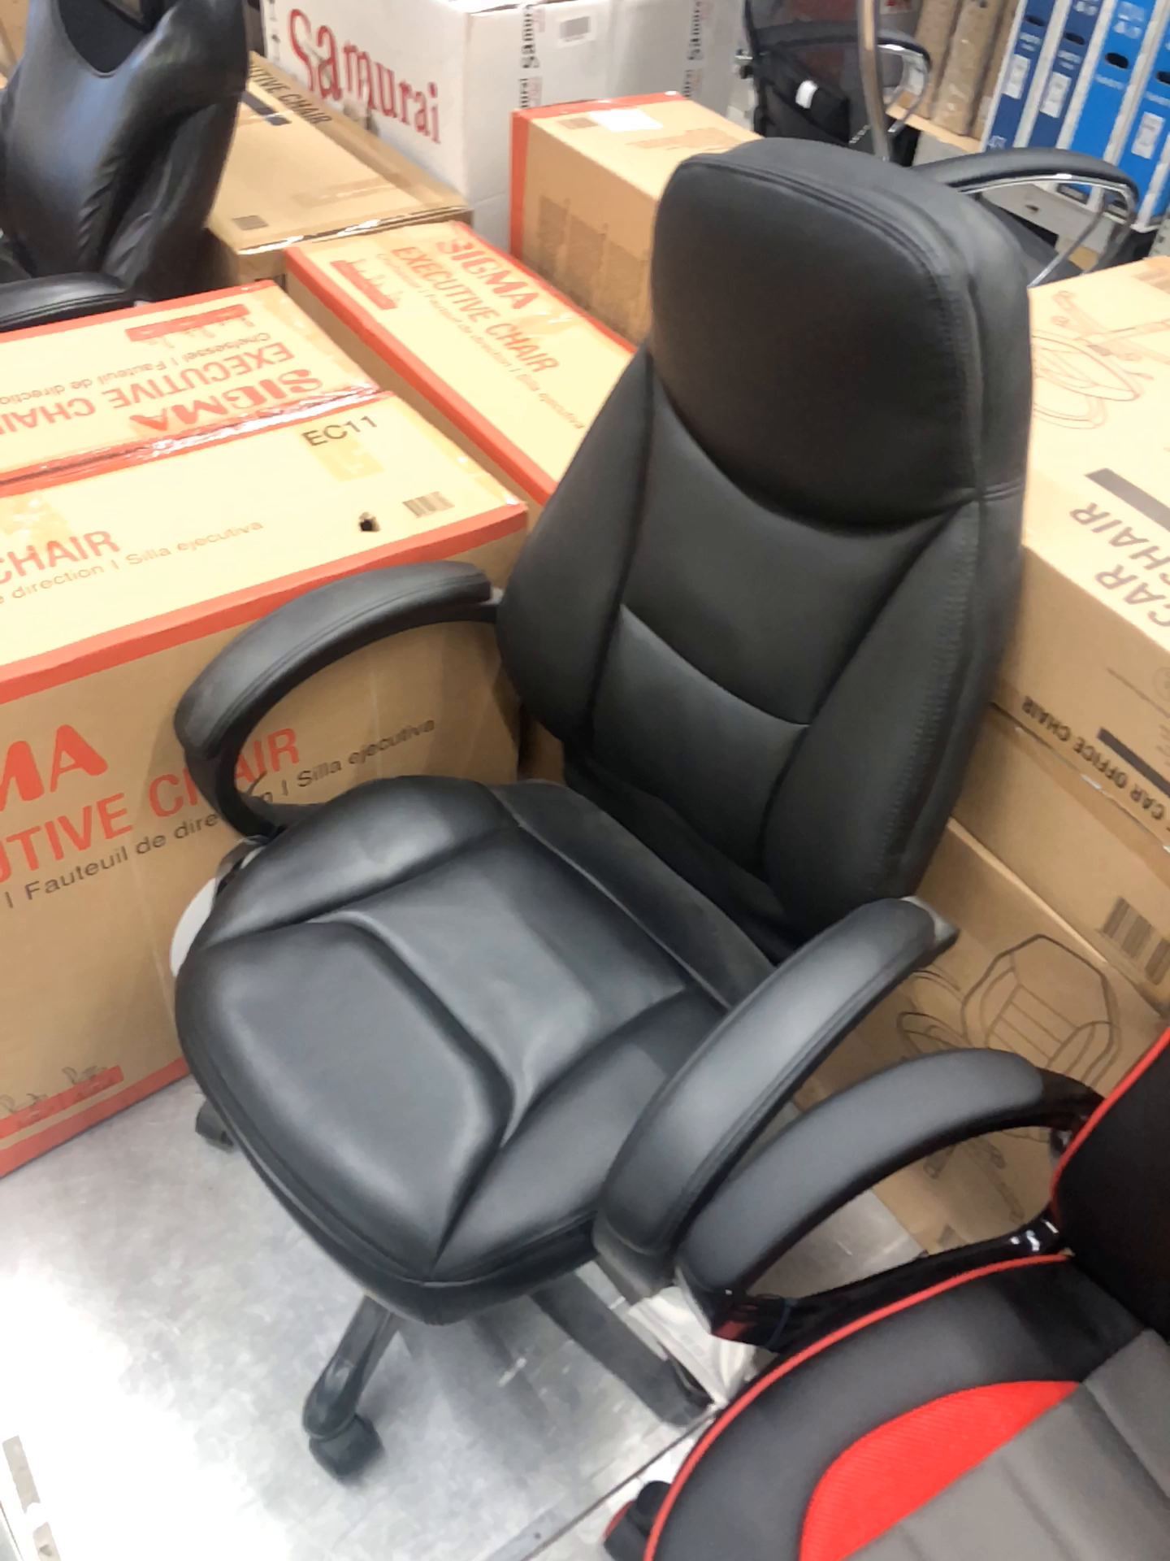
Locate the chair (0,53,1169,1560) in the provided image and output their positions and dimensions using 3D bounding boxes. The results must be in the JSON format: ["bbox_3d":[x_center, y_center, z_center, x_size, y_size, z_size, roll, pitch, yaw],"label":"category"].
[{"bbox_3d":[-0.036,0.091,1.146,0.743,1.063,0.722,-32,56,-32],"label":"chair"}]
